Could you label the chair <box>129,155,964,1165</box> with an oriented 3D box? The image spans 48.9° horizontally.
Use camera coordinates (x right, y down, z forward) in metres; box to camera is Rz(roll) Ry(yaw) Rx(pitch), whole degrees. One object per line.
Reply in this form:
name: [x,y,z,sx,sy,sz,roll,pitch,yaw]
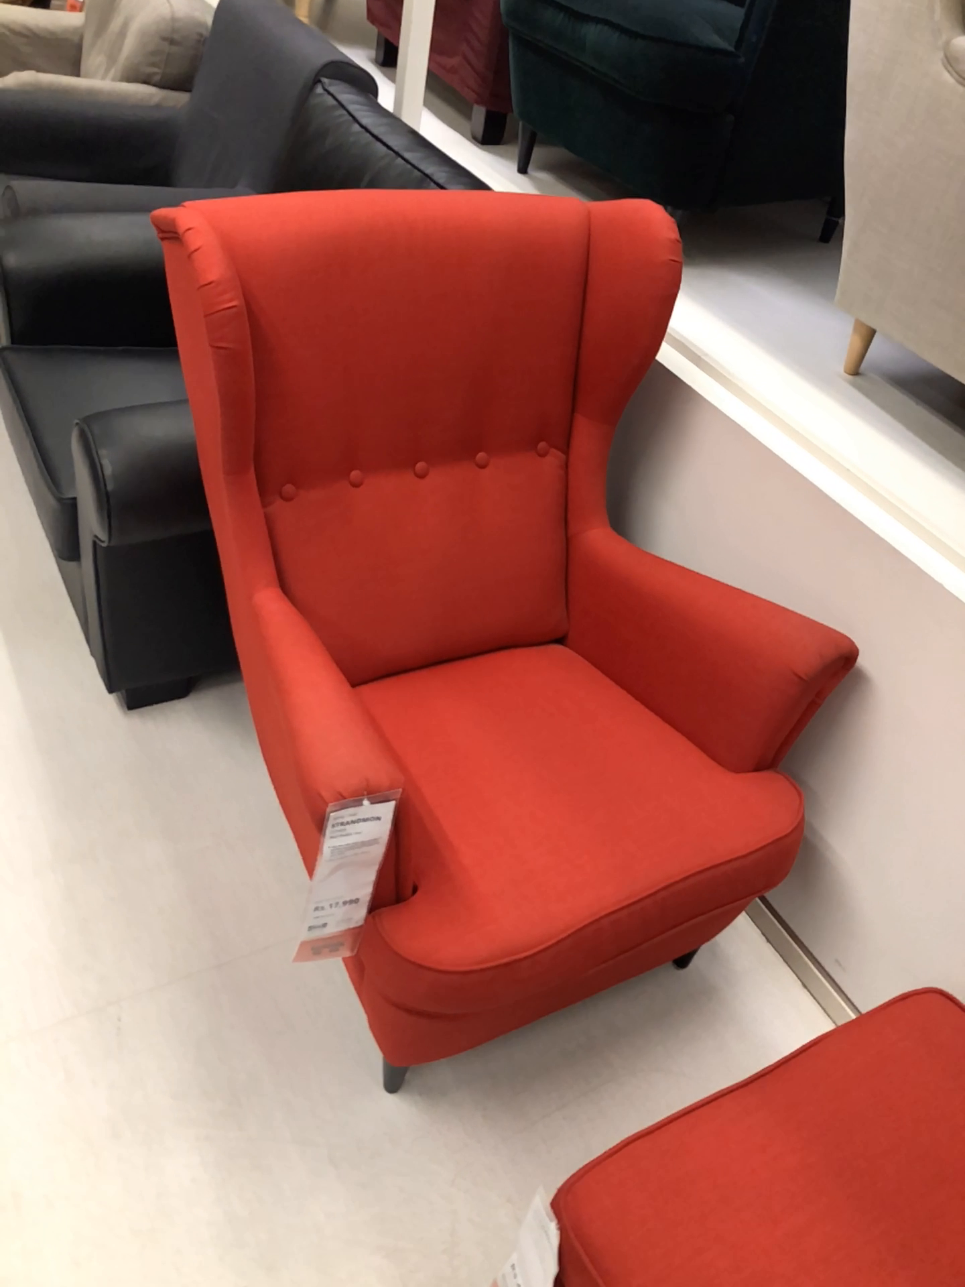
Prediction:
chair: [0.084,-0.050,1.535,0.902,0.973,0.844,-13,46,-28]
